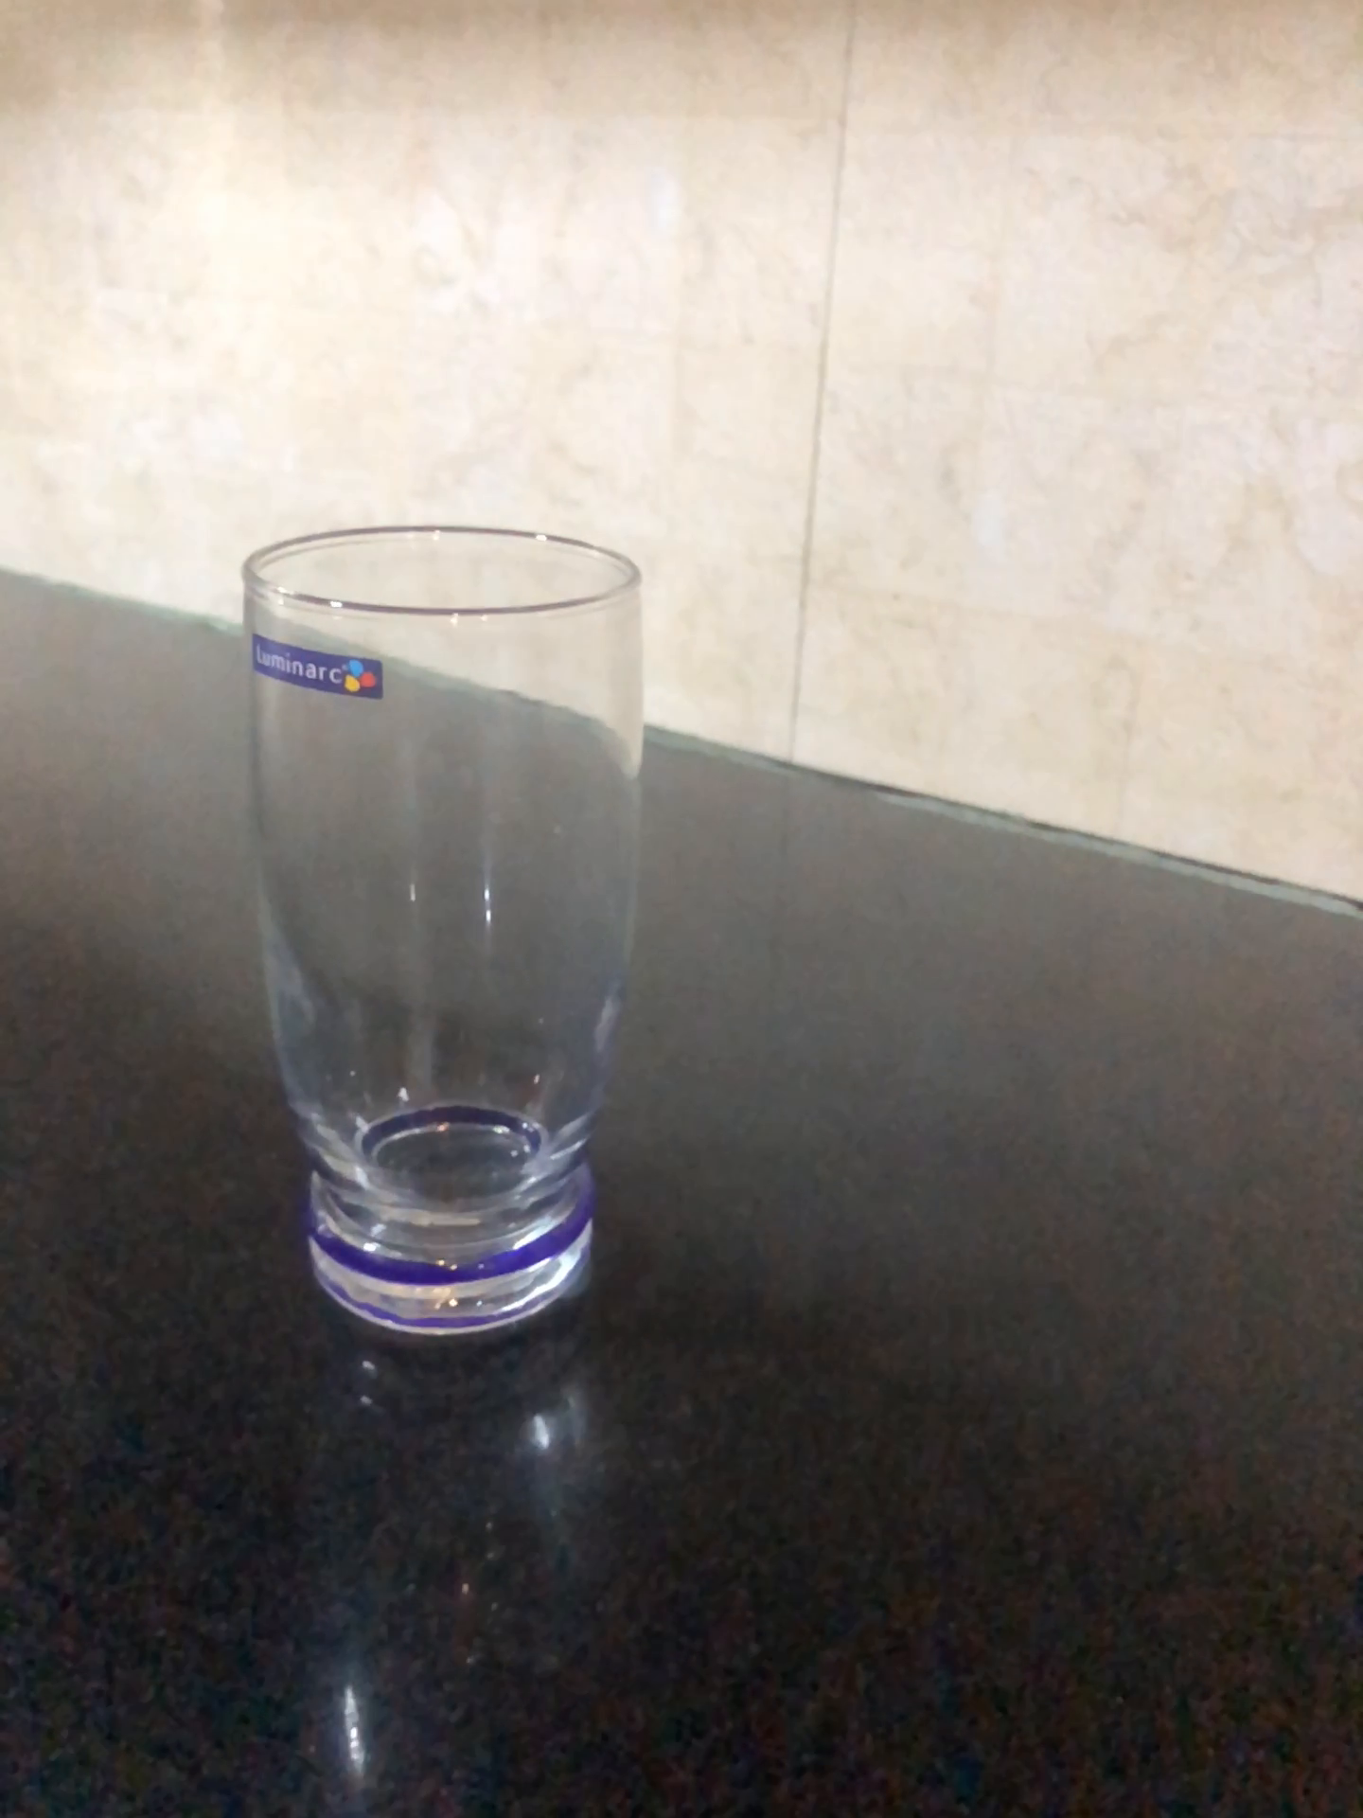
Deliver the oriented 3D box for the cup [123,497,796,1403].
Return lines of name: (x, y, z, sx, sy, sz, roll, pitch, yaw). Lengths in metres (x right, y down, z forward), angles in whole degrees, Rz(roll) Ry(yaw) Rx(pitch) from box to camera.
cup: (-0.036, 0.000, 0.276, 0.080, 0.129, 0.080, 3, 23, -1)
